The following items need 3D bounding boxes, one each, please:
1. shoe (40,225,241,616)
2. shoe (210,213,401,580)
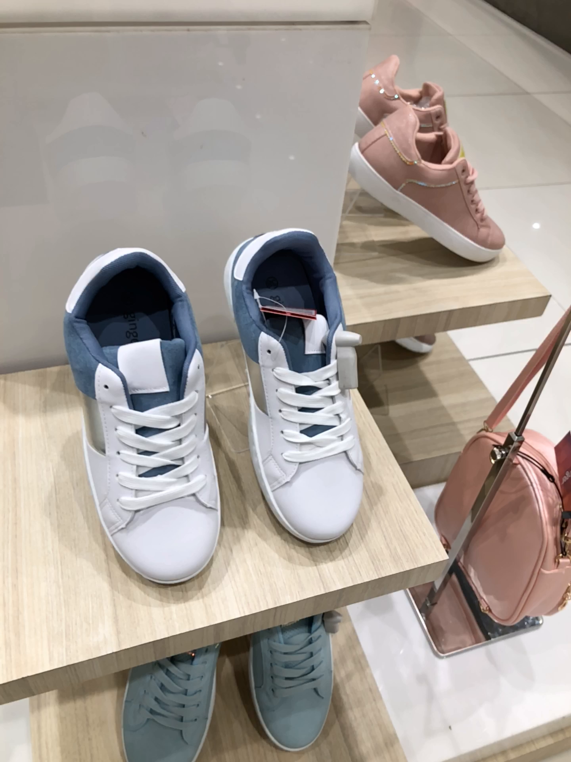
[{"bbox_3d":[-0.109,0.024,0.483,0.100,0.260,0.090,-9,6,-16],"label":"shoe"},{"bbox_3d":[0.014,0.008,0.511,0.100,0.260,0.090,-9,6,-16],"label":"shoe"}]
